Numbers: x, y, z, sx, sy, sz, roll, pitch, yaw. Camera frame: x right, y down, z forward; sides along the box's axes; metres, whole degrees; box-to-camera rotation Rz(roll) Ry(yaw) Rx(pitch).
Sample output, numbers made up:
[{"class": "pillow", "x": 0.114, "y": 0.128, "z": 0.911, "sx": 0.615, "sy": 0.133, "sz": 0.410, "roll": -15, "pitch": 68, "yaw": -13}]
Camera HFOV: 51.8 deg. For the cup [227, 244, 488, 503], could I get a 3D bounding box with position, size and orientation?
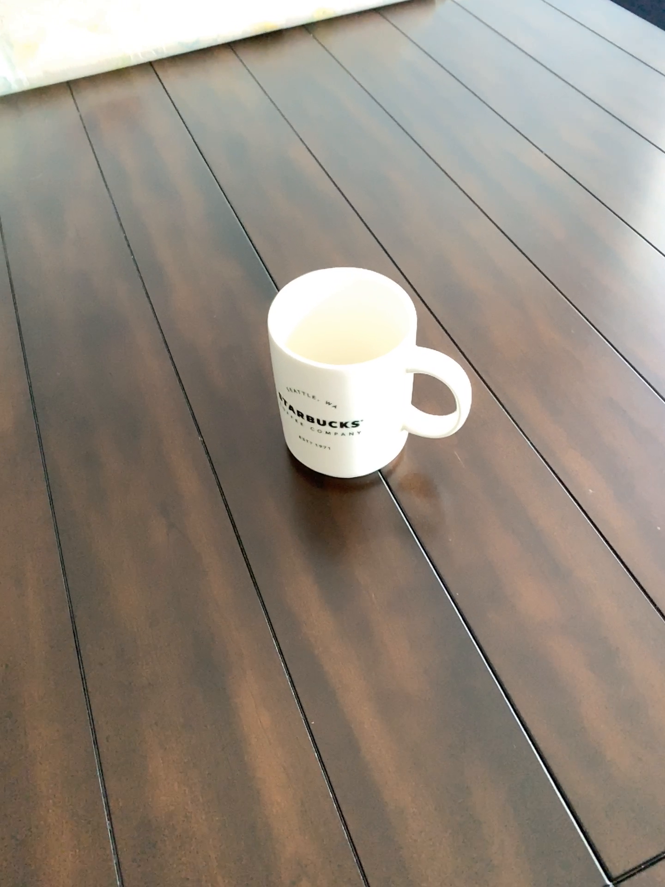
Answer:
[{"class": "cup", "x": 0.017, "y": -0.043, "z": 0.437, "sx": 0.130, "sy": 0.110, "sz": 0.090, "roll": 13, "pitch": 56, "yaw": 10}]
